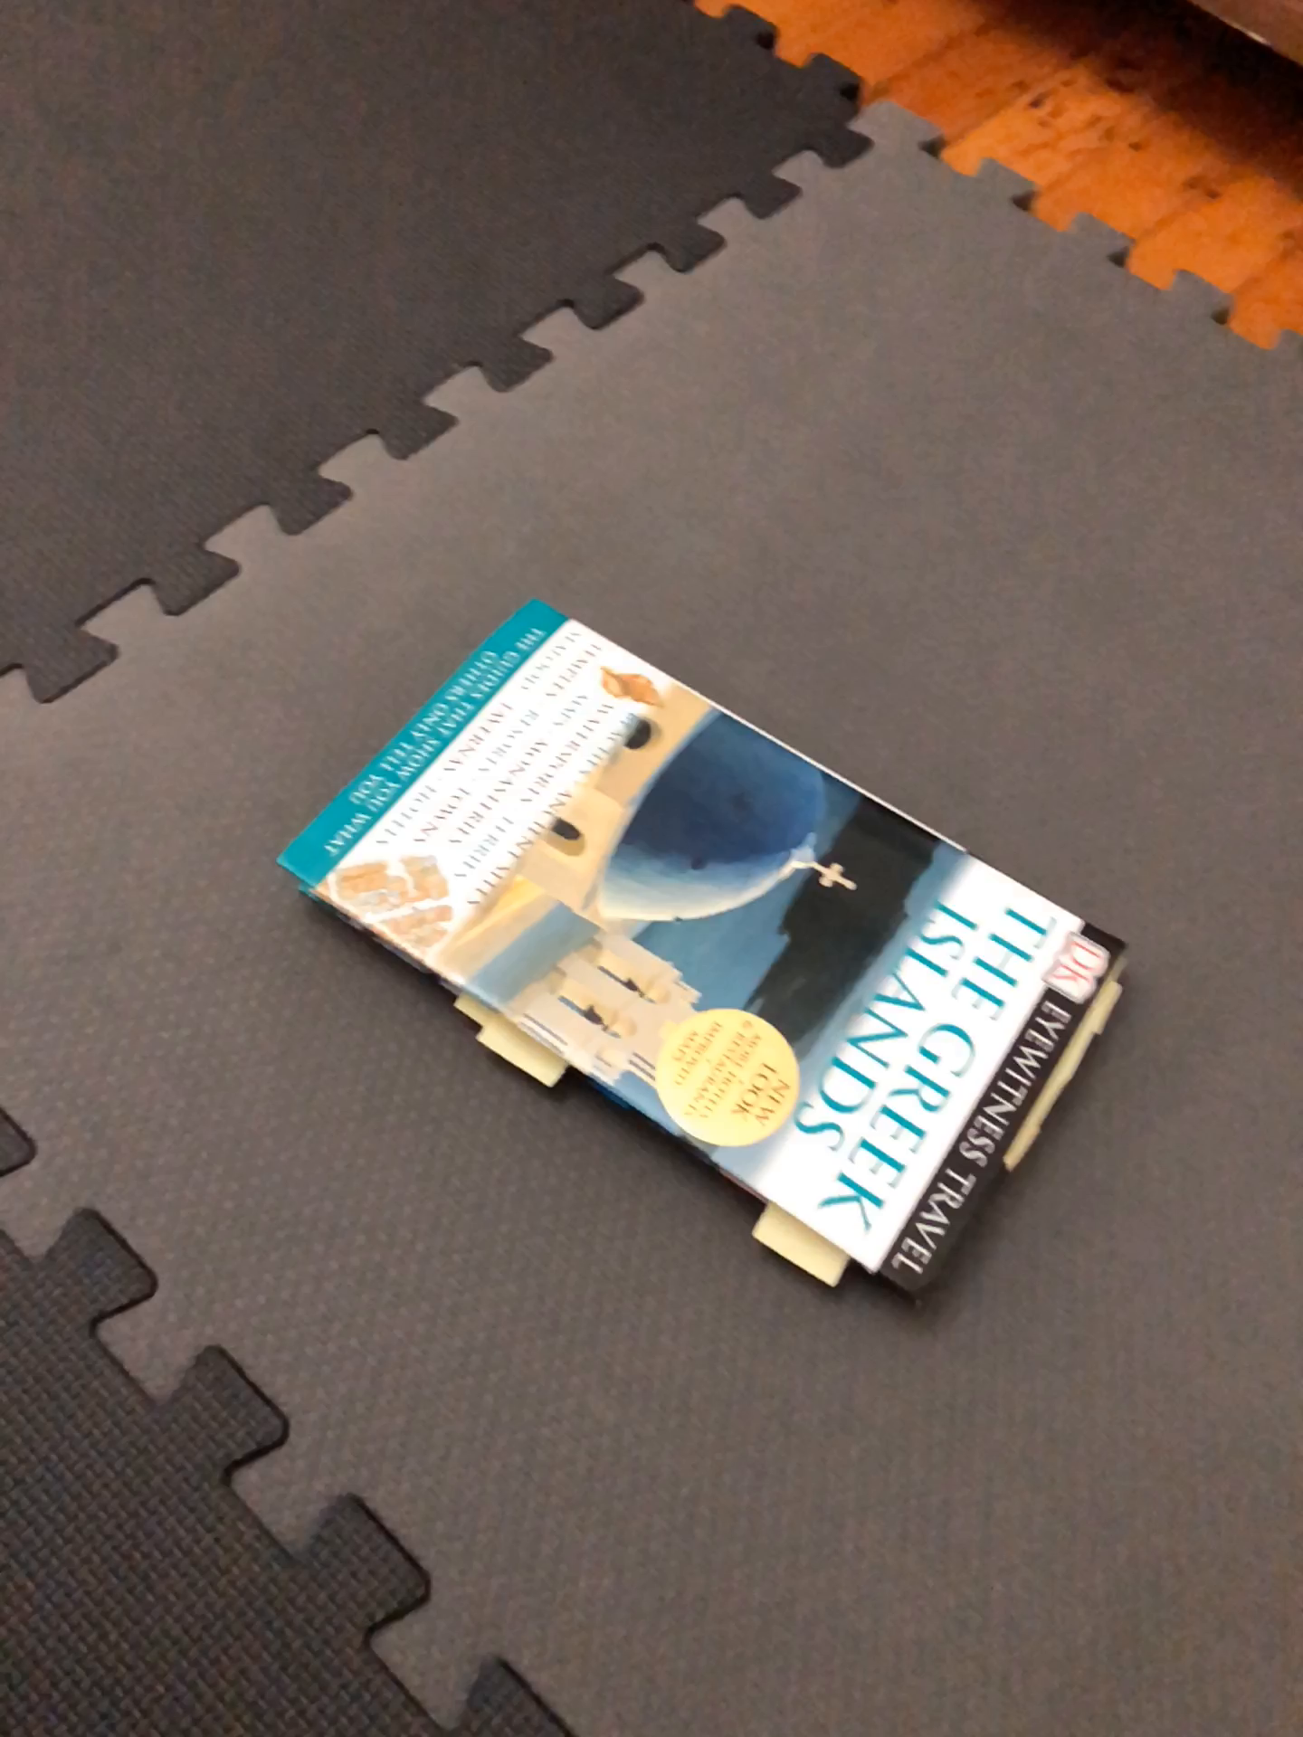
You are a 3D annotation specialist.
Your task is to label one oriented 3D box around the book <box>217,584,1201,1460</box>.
[{"bbox_3d":[0.018,0.030,0.430,0.240,0.030,0.160,33,62,14],"label":"book"}]
